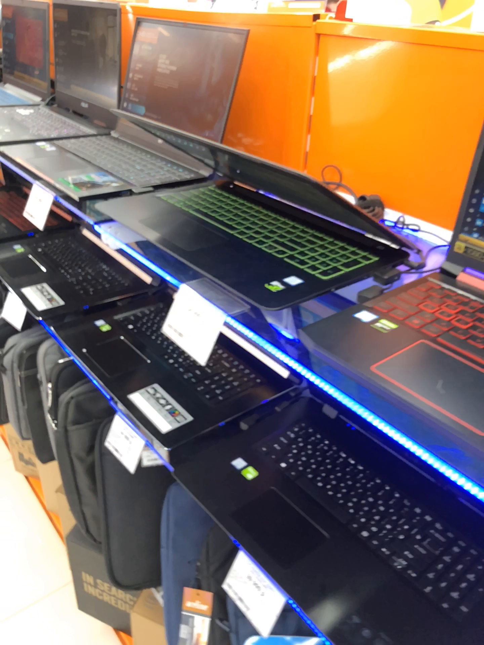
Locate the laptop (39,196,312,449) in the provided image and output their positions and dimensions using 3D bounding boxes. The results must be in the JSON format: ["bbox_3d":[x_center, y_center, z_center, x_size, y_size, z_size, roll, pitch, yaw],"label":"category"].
[{"bbox_3d":[-0.131,-0.037,0.931,0.263,0.217,0.413,-20,37,-34],"label":"laptop"}]

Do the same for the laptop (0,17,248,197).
[{"bbox_3d":[-0.224,-0.398,0.943,0.303,0.219,0.341,-20,37,-34],"label":"laptop"}]

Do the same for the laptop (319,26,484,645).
[{"bbox_3d":[0.297,-0.054,0.373,0.254,0.245,0.410,-24,39,-38],"label":"laptop"}]

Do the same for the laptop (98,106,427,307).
[{"bbox_3d":[0.005,-0.179,0.692,0.227,0.118,0.370,-21,37,-34],"label":"laptop"}]

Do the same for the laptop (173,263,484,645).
[{"bbox_3d":[0.147,0.134,0.625,0.275,0.255,0.398,-19,34,-35],"label":"laptop"}]
